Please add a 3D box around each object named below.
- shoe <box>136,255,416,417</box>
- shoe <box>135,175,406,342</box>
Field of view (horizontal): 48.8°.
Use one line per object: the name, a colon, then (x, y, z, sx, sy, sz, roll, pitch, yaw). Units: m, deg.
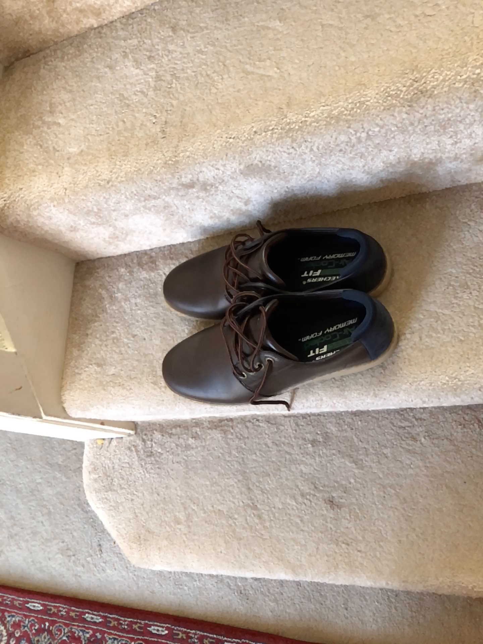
shoe: (0.029, 0.028, 0.612, 0.300, 0.090, 0.110, -13, 68, 23)
shoe: (0.026, -0.063, 0.631, 0.300, 0.090, 0.110, -10, 69, 24)
